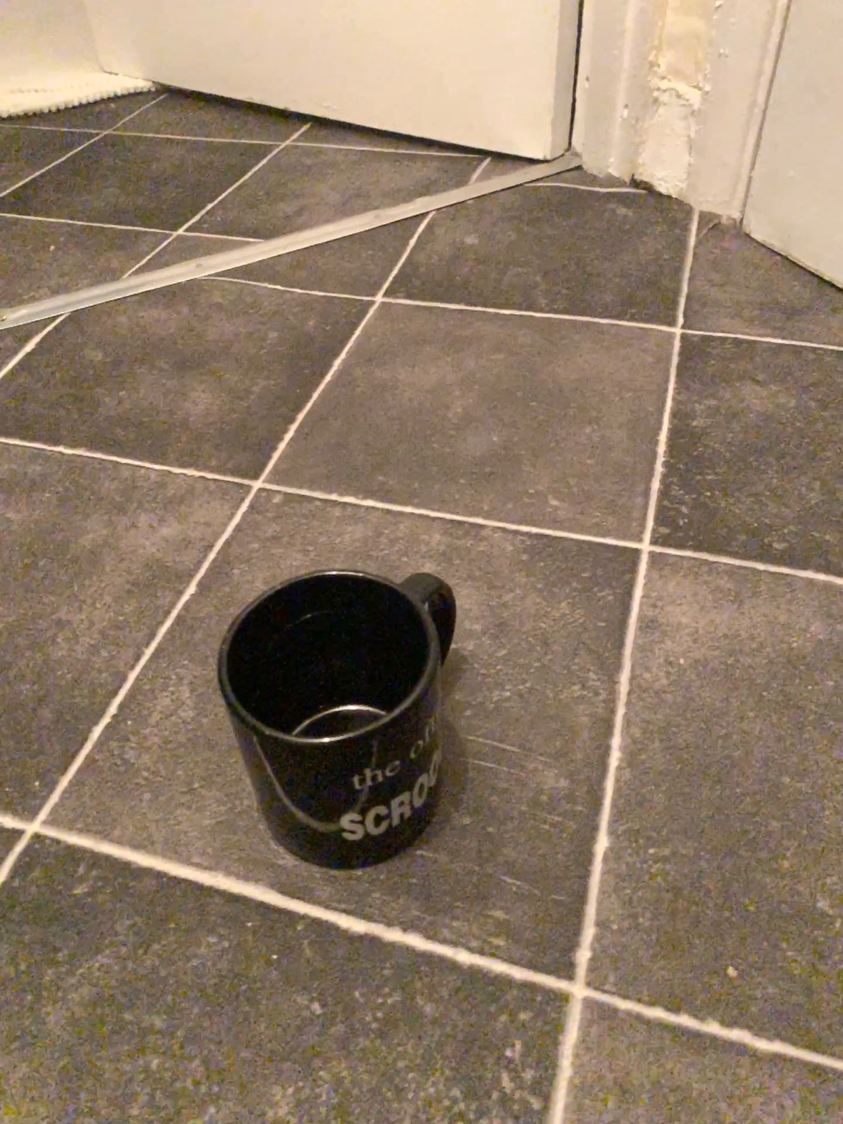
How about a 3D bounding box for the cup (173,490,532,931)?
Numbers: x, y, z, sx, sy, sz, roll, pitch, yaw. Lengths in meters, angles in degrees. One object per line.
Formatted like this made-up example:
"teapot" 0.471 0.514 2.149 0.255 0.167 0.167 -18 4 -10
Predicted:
"cup" -0.020 0.060 0.363 0.080 0.114 0.118 24 50 25
